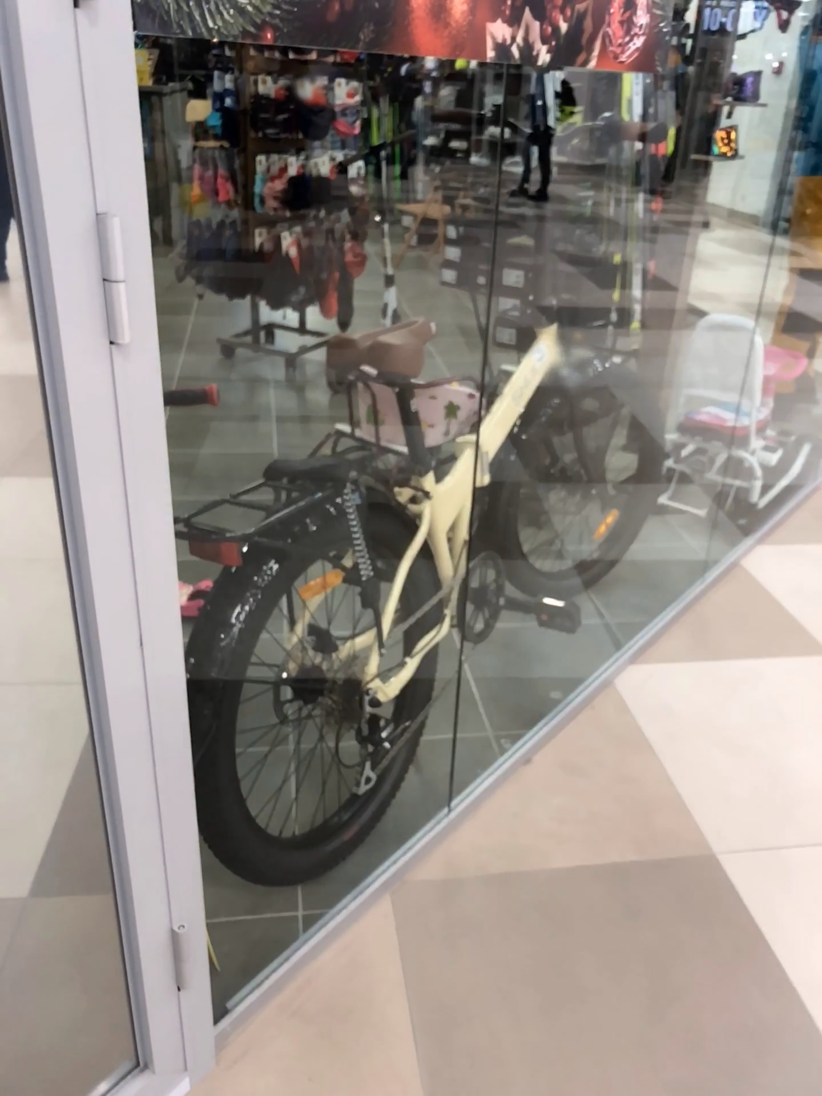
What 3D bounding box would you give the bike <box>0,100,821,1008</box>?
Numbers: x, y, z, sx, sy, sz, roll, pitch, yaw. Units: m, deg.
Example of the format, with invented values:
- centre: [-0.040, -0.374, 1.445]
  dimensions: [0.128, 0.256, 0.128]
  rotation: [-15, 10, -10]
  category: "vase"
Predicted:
- centre: [0.256, -0.187, 1.835]
  dimensions: [0.594, 1.175, 1.708]
  rotation: [18, 28, 29]
  category: "bike"
